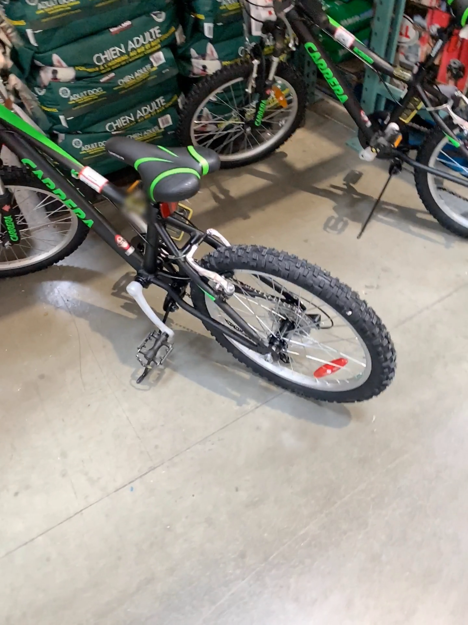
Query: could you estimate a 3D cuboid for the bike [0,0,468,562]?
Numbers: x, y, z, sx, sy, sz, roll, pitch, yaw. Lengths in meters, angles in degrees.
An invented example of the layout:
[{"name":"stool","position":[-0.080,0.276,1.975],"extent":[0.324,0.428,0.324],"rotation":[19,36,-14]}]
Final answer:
[{"name":"bike","position":[-0.293,-0.147,1.016],"extent":[1.305,0.855,0.710],"rotation":[15,51,14]}]
